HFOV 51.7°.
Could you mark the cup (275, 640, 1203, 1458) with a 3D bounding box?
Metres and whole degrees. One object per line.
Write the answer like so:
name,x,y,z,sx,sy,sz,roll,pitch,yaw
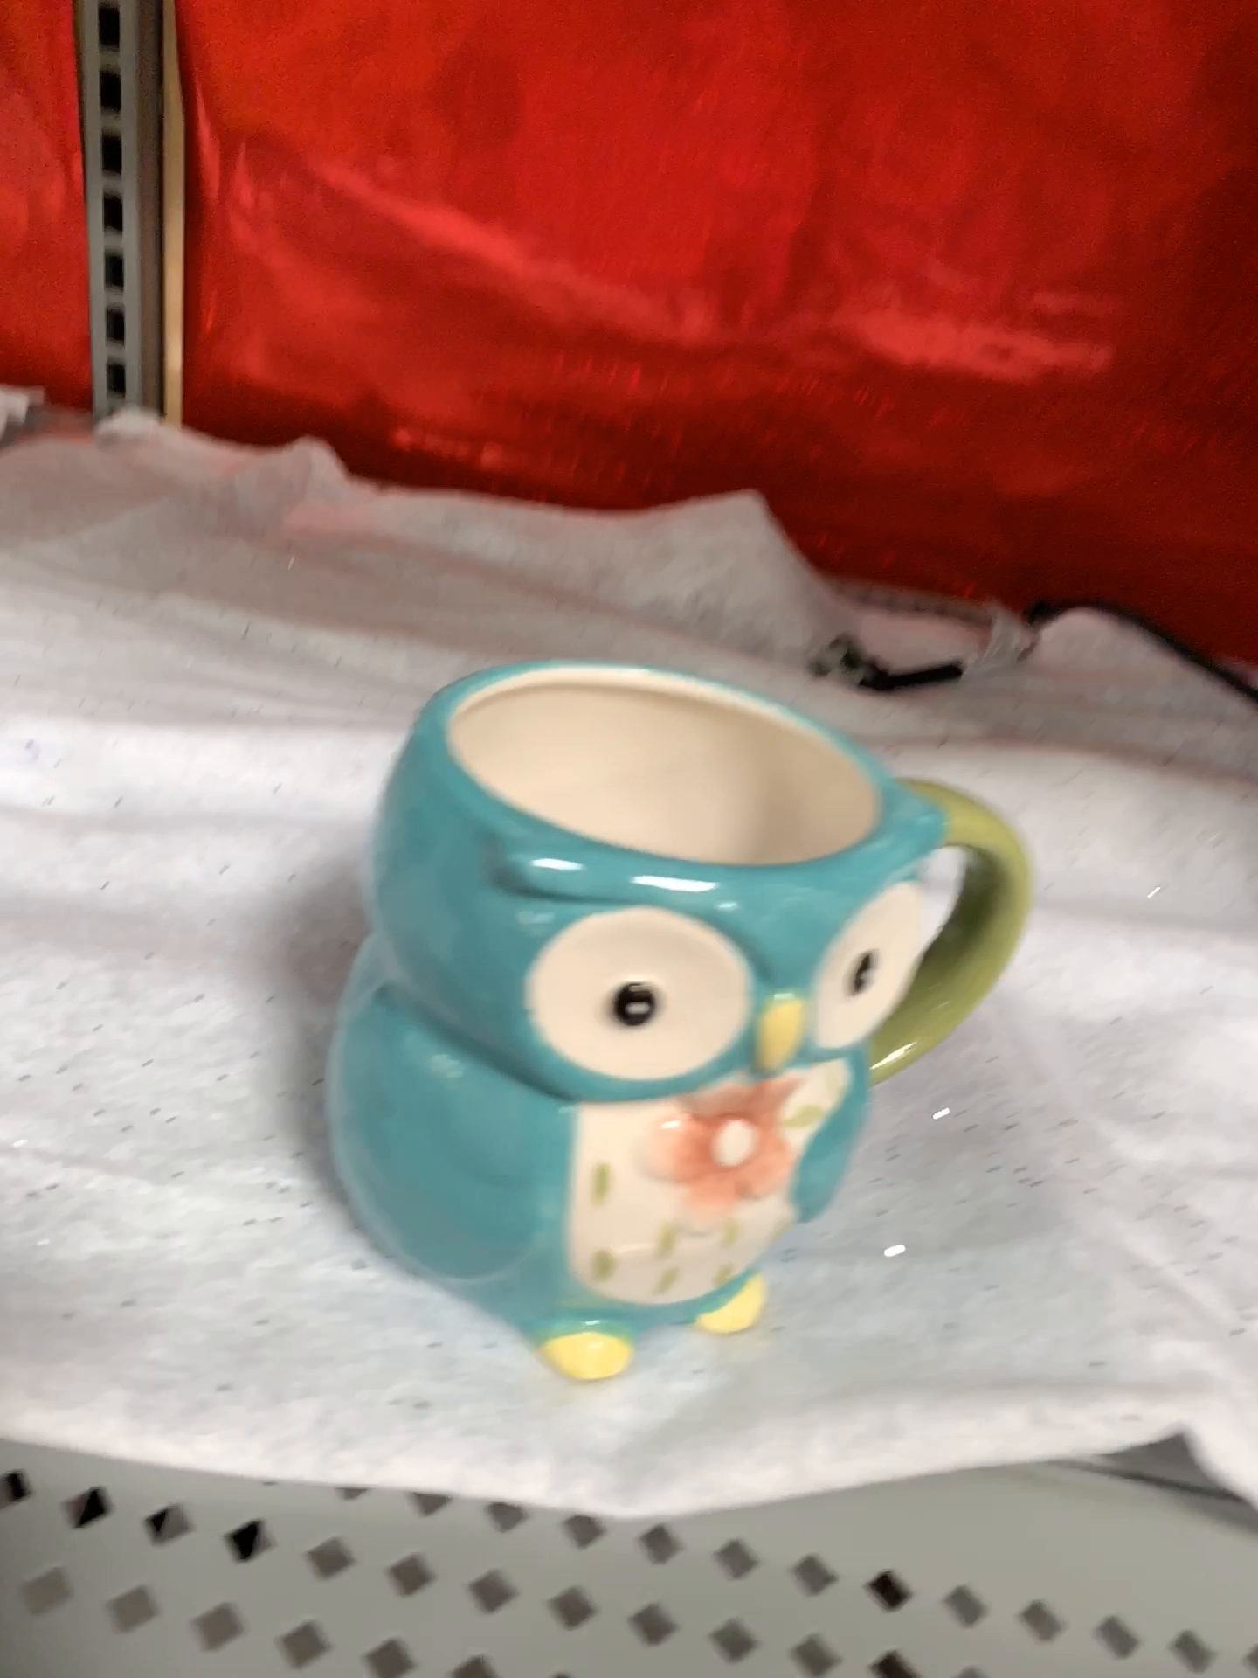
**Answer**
cup,0.010,0.026,0.252,0.127,0.087,0.108,-6,36,-28
